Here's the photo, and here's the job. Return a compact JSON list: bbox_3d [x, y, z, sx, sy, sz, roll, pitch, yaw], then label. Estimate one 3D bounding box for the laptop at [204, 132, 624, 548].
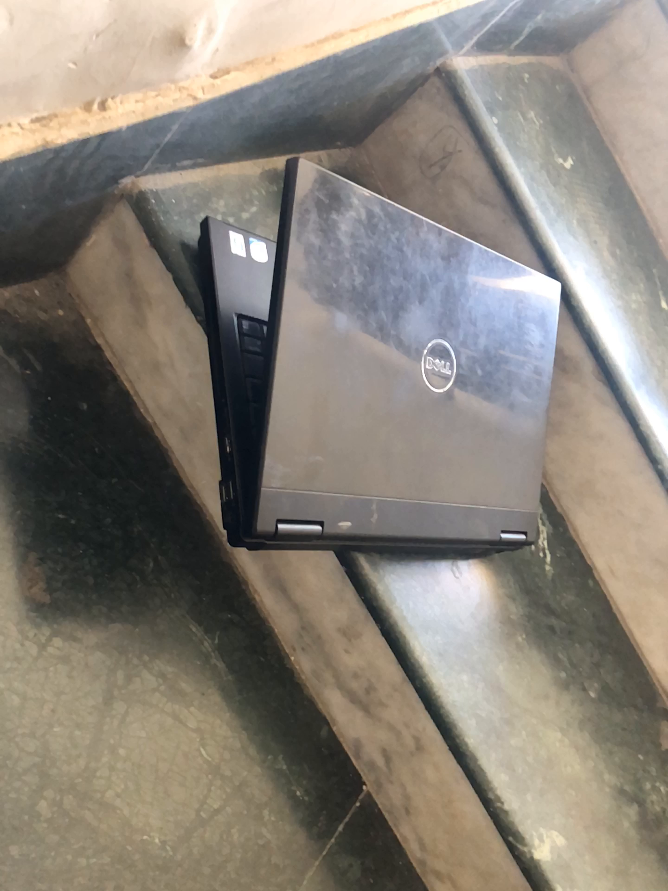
[{"bbox_3d":[0.071,-0.051,0.551,0.303,0.095,0.232,8,65,-44],"label":"laptop"}]
